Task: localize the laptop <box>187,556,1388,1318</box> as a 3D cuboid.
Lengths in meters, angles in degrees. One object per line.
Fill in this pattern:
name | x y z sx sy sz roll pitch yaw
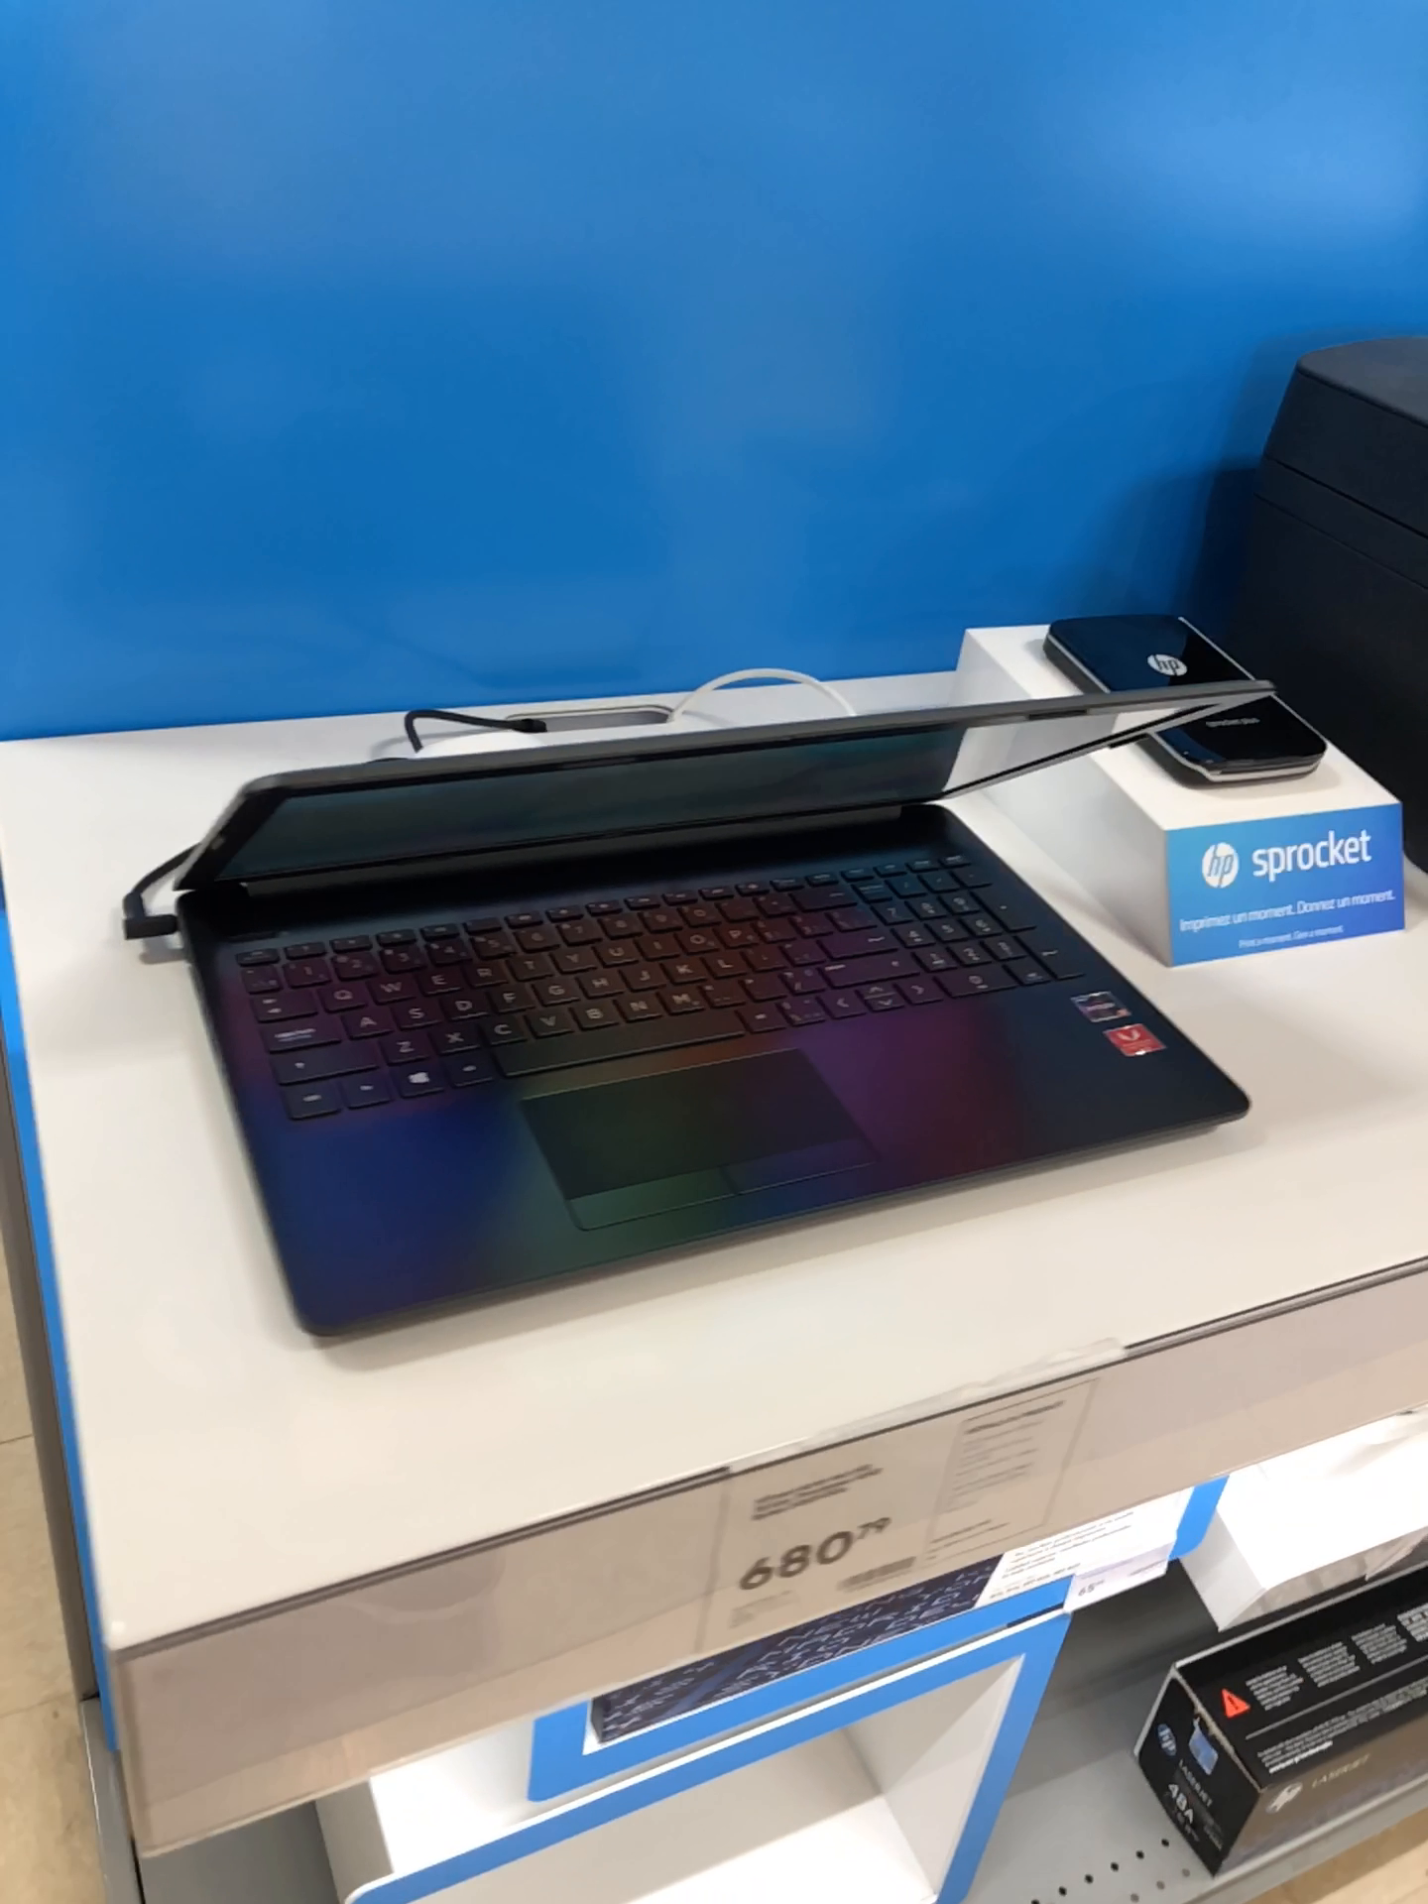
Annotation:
laptop | 0.015 -0.039 0.581 0.356 0.130 0.243 -9 36 -27
